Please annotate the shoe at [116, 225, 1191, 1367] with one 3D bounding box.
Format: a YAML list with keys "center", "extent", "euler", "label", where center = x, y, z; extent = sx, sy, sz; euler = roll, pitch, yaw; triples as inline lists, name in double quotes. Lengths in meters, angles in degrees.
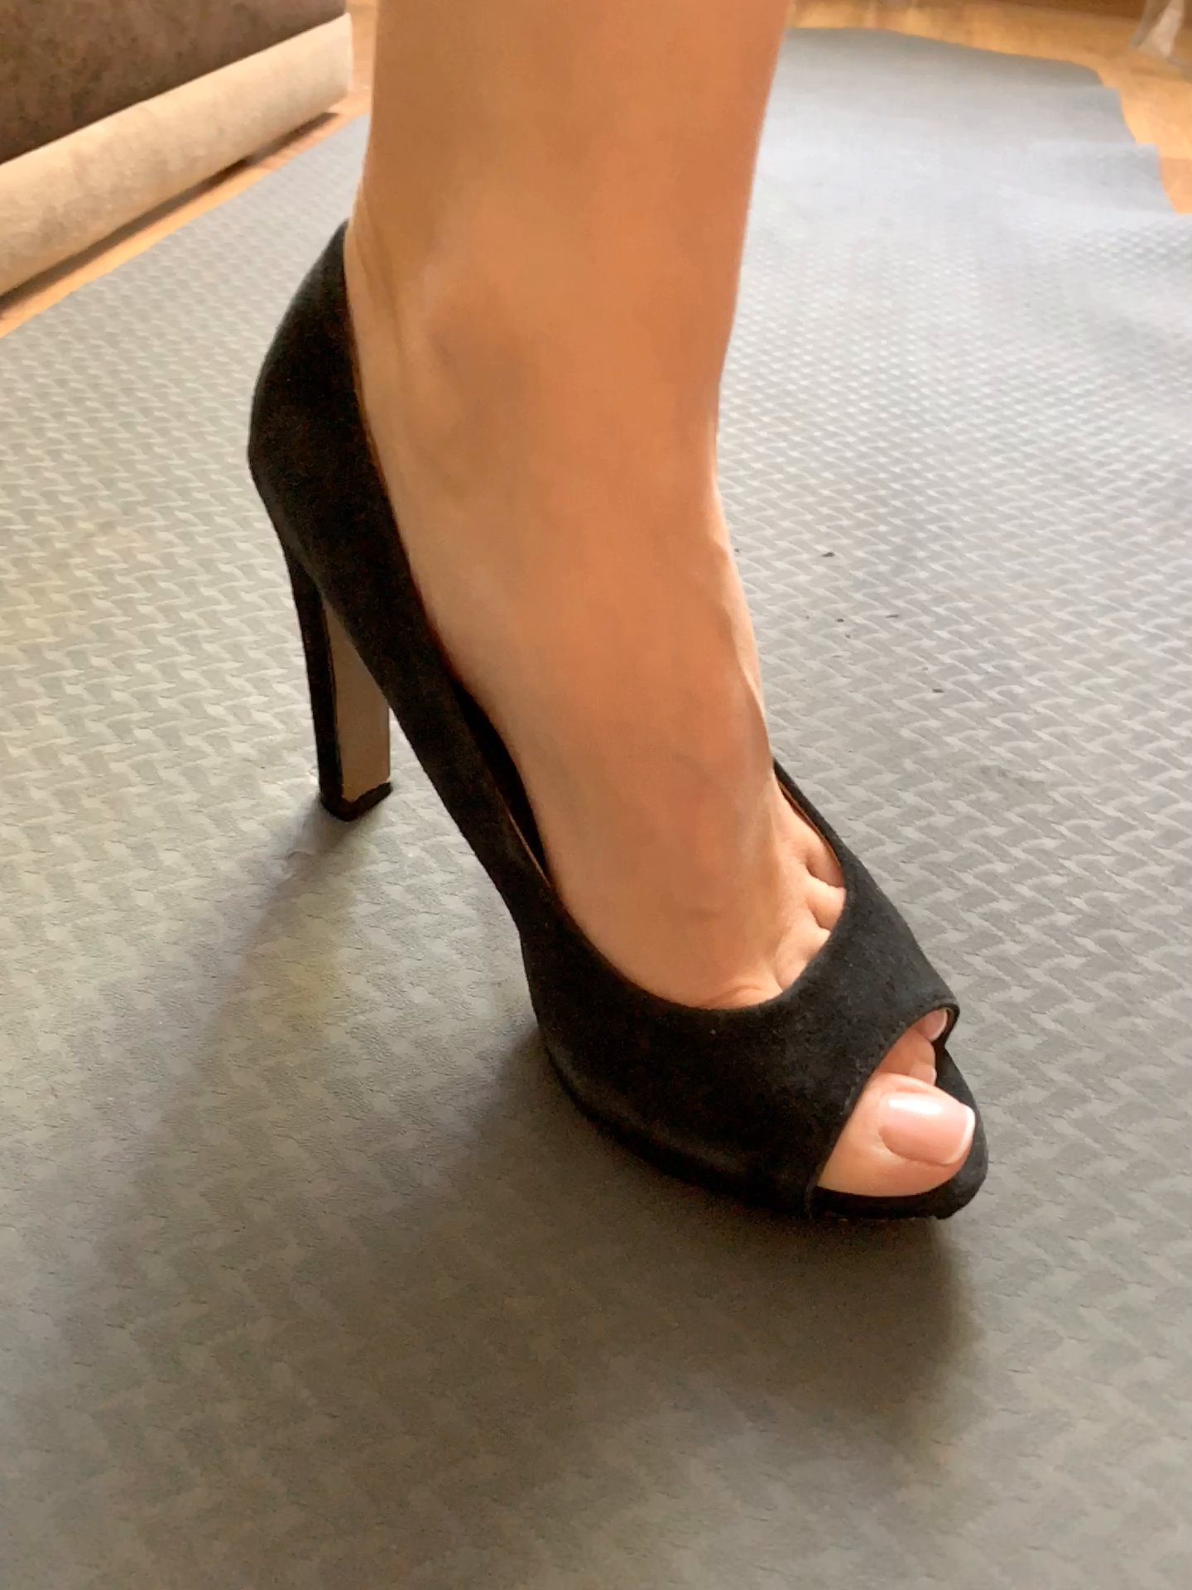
- center: [0.006, -0.015, 0.267]
  extent: [0.211, 0.139, 0.090]
  euler: [34, 48, 29]
  label: "shoe"
